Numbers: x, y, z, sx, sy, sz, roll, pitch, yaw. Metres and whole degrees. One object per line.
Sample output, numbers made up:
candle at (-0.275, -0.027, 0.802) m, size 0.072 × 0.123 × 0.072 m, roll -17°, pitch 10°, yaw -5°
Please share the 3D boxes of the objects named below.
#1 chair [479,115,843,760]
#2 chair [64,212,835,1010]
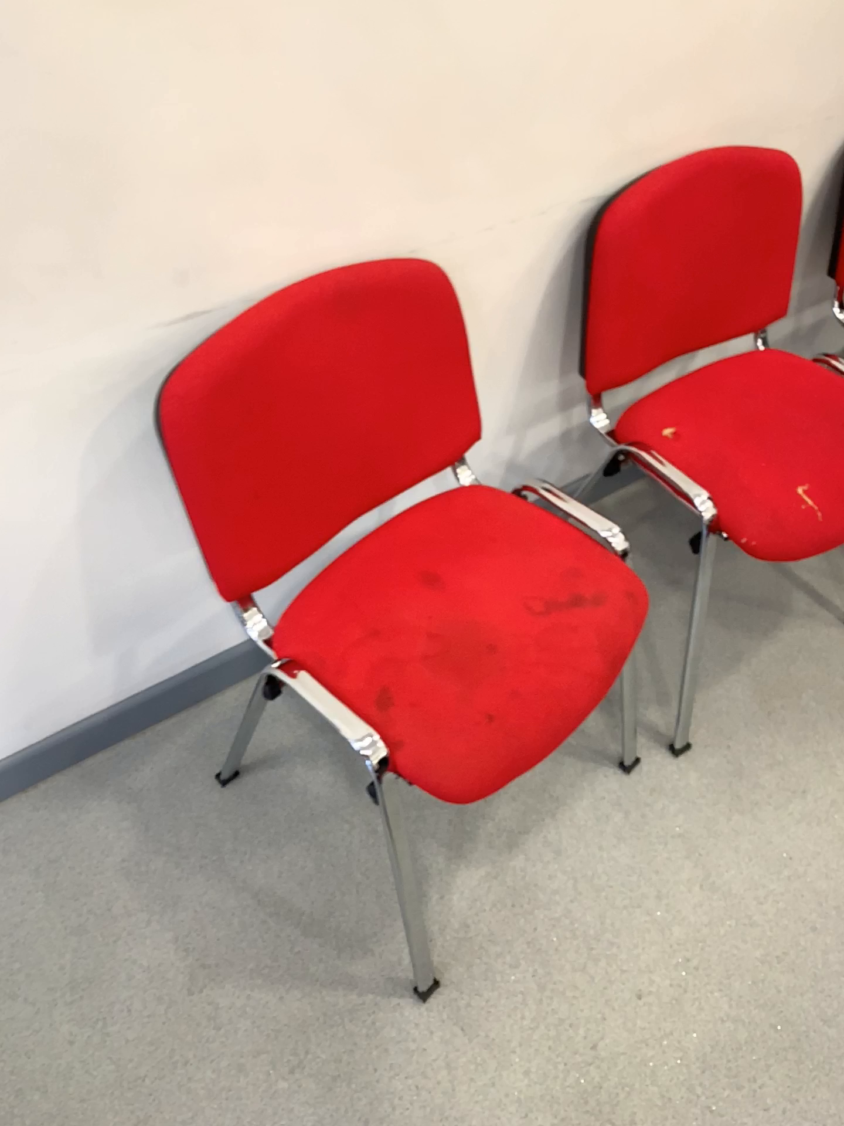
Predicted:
chair at (0.549, -0.211, 1.523) m, size 0.569 × 0.793 × 0.591 m, roll -25°, pitch 55°, yaw -24°
chair at (0.013, 0.066, 1.253) m, size 0.630 × 0.753 × 0.600 m, roll 38°, pitch 56°, yaw 25°
